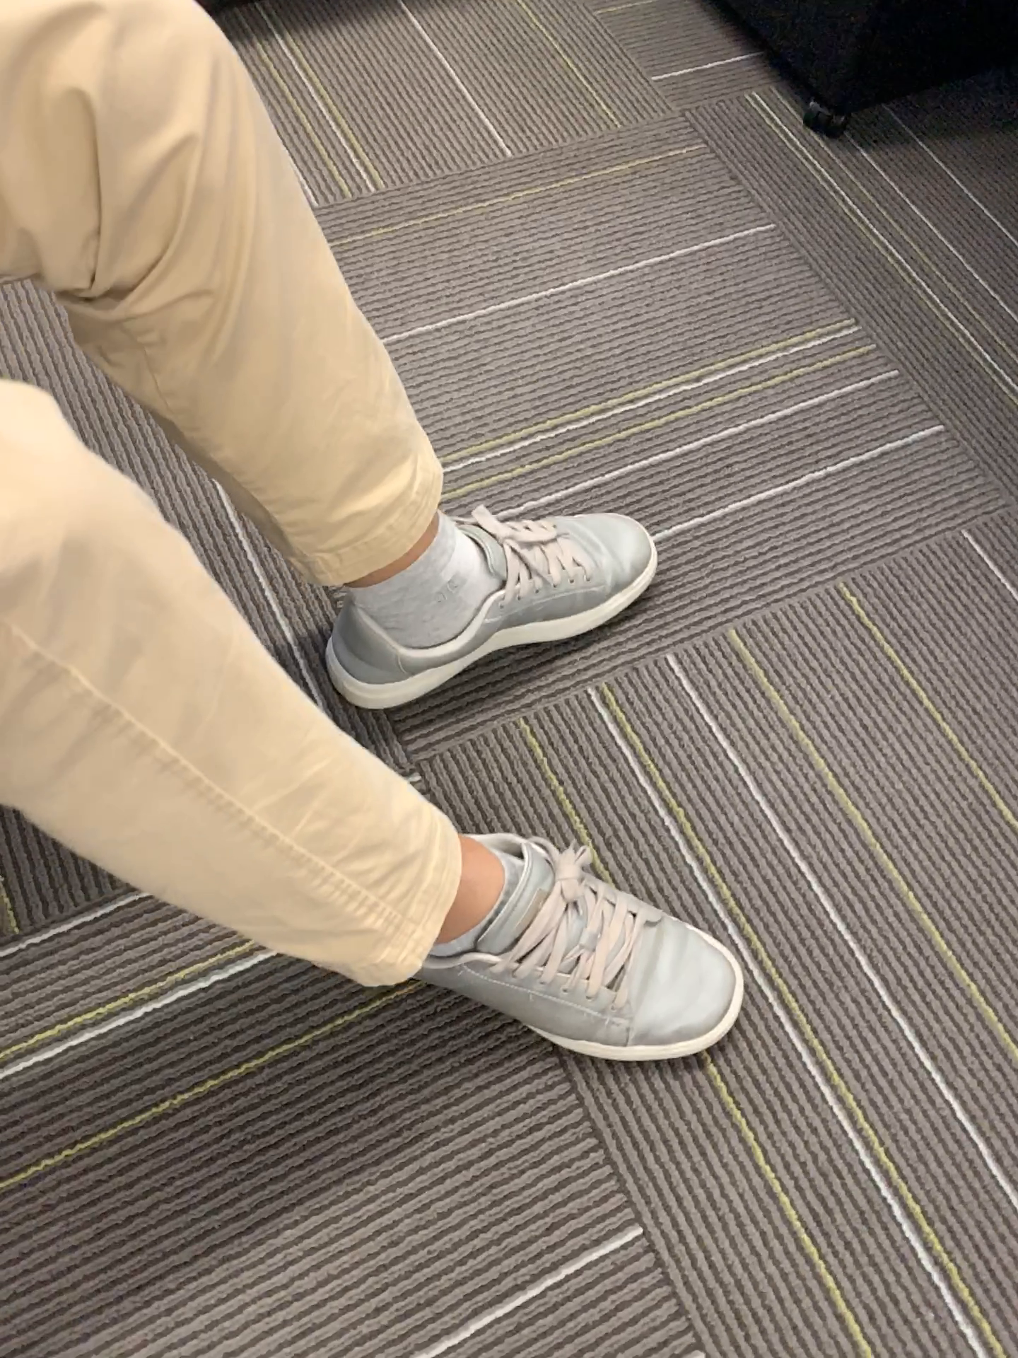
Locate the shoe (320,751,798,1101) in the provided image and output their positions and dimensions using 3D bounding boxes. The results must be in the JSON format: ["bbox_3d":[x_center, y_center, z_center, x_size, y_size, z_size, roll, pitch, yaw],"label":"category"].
[{"bbox_3d":[0.029,0.169,0.692,0.270,0.140,0.120,17,62,4],"label":"shoe"}]

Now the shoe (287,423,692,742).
[{"bbox_3d":[-0.016,-0.079,0.826,0.280,0.110,0.120,-24,67,-17],"label":"shoe"}]
